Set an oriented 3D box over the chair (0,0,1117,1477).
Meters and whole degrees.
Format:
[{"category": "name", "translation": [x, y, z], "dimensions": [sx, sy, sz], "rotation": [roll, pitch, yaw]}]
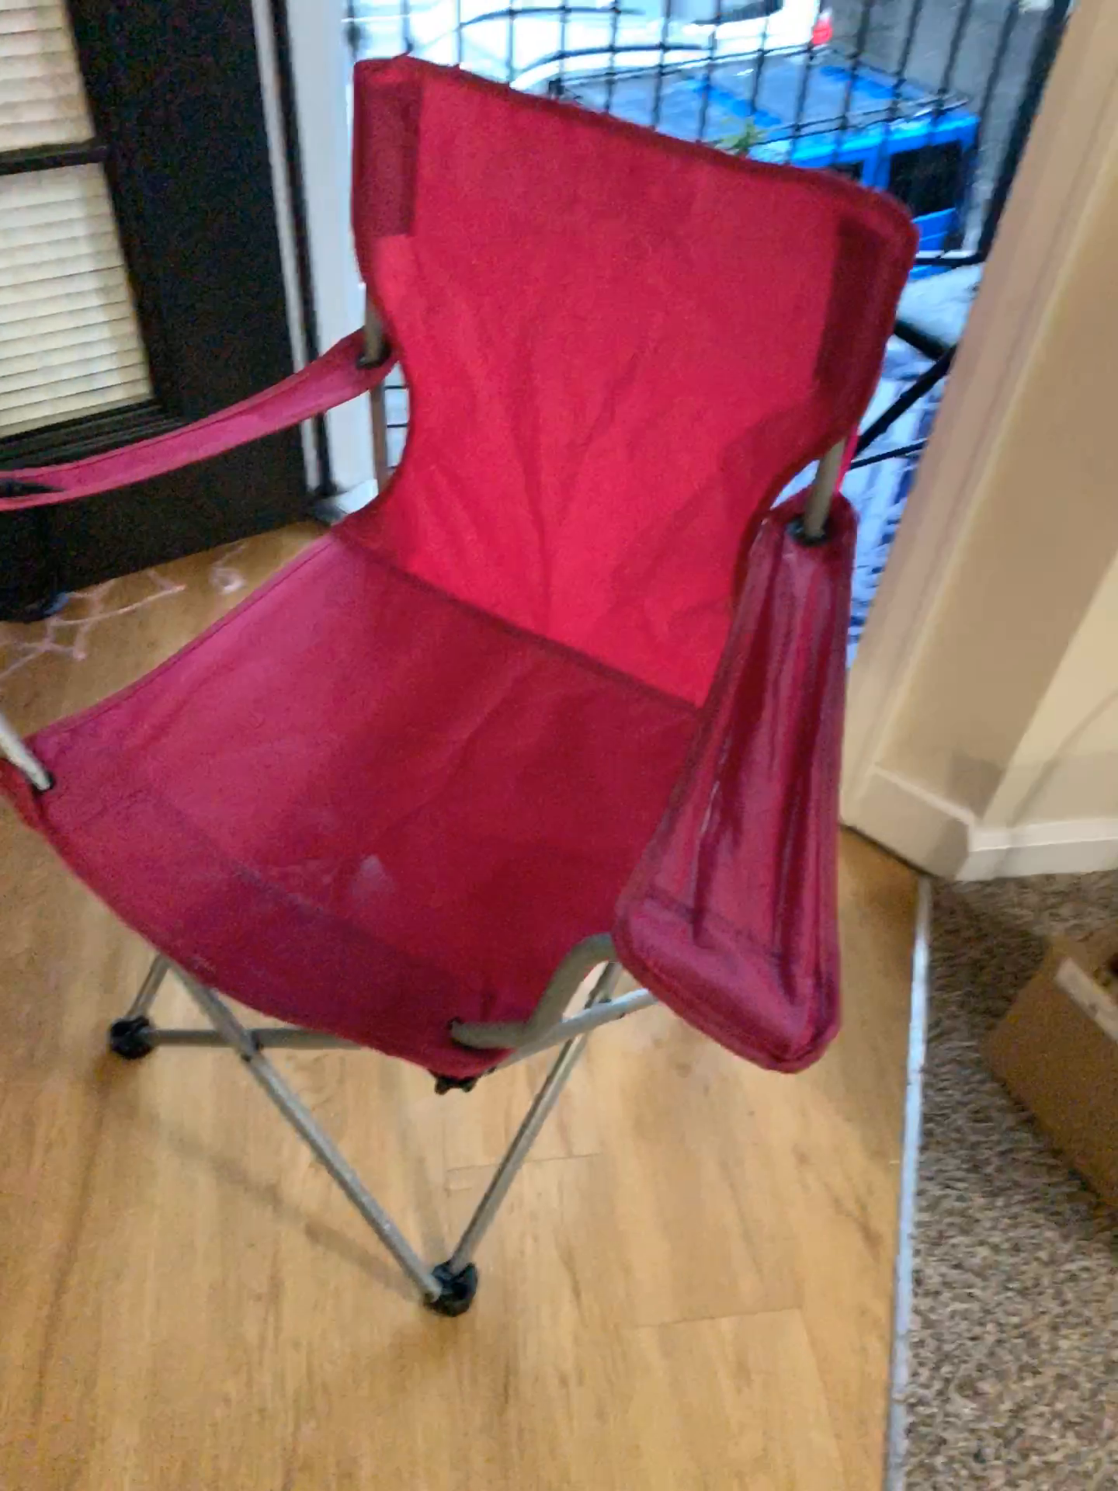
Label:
[{"category": "chair", "translation": [-0.070, -0.046, 0.924], "dimensions": [0.651, 0.776, 0.672], "rotation": [31, 50, 23]}]
